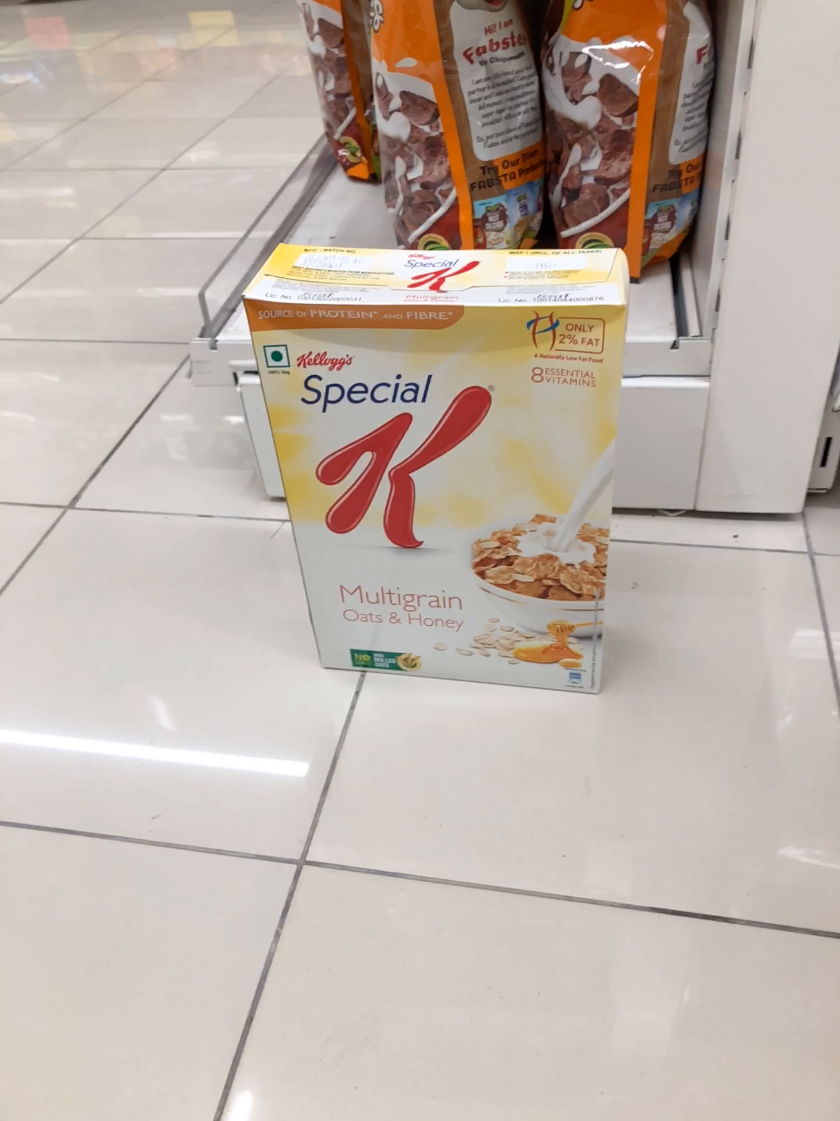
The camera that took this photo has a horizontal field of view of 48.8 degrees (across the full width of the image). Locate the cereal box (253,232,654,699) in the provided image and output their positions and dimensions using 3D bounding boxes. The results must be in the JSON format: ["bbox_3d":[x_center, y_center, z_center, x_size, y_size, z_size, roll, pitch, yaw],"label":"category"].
[{"bbox_3d":[0.026,-0.045,0.545,0.190,0.268,0.070,4,40,10],"label":"cereal box"}]
